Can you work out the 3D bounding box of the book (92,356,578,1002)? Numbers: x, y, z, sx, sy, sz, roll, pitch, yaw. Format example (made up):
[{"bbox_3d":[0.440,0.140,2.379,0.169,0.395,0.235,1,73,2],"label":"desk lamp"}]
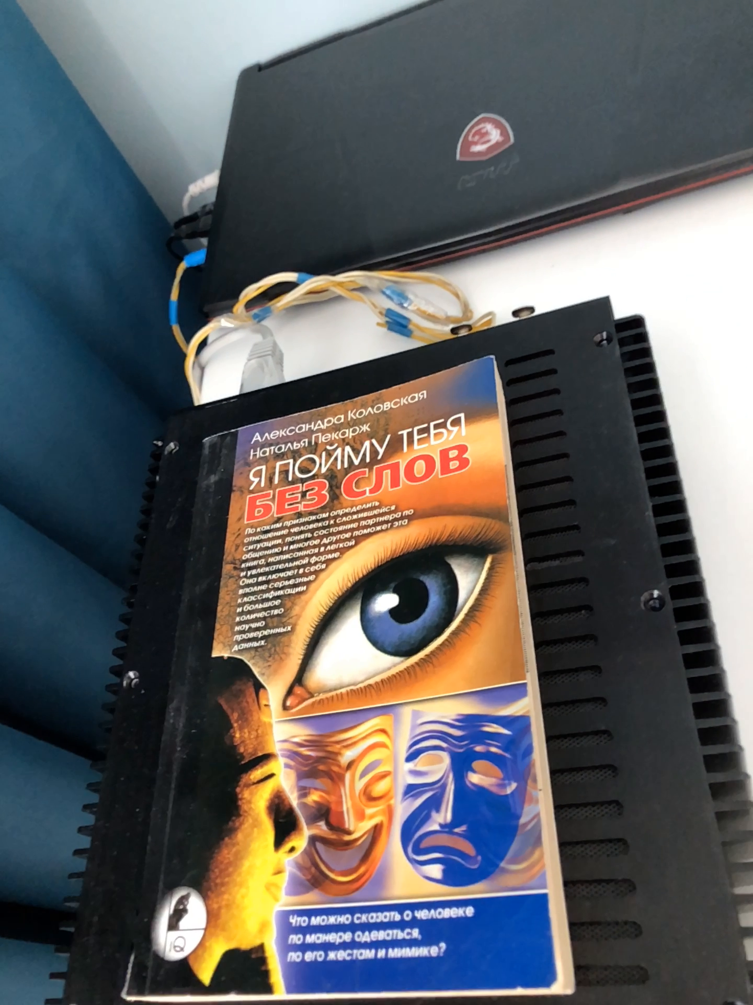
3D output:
[{"bbox_3d":[-0.013,0.046,0.258,0.123,0.023,0.184,-13,55,19],"label":"book"}]
